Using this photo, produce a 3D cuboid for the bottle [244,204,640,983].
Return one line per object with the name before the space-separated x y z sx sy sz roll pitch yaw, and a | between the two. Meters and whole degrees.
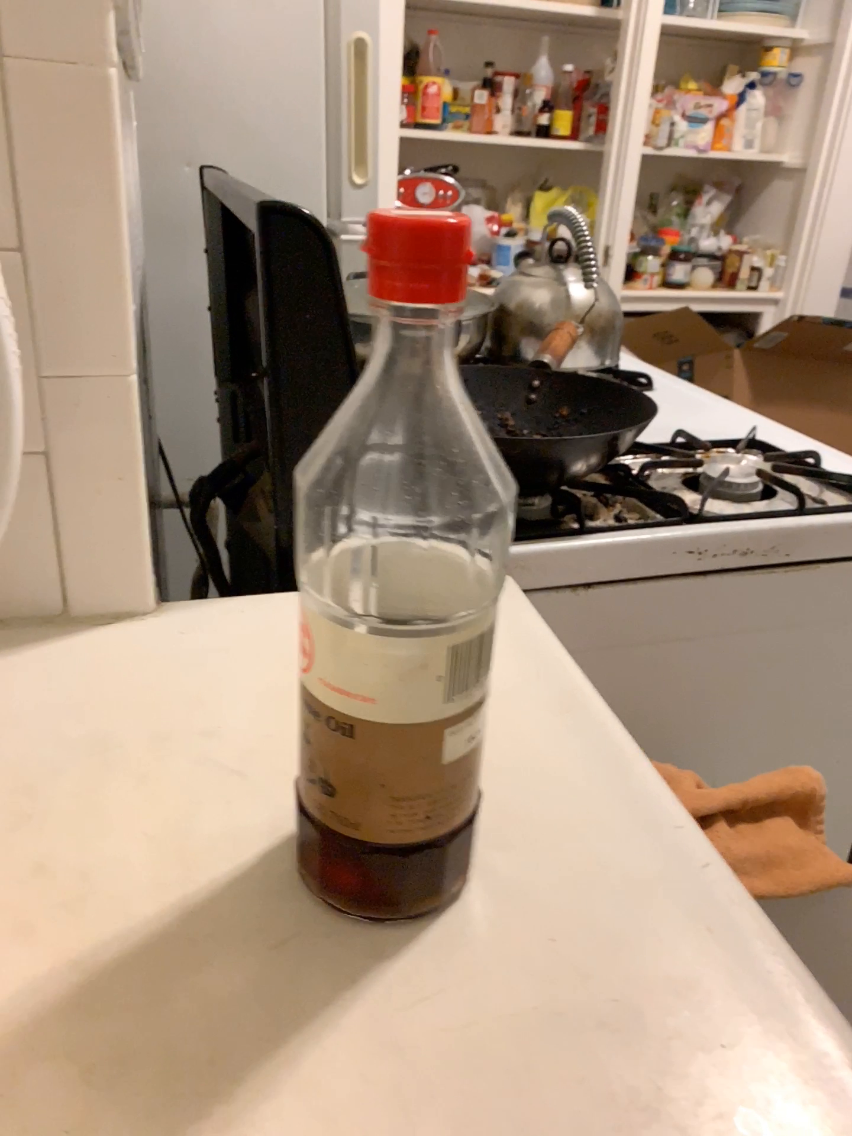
bottle | -0.007 0.012 0.323 0.090 0.259 0.090 3 26 -2
